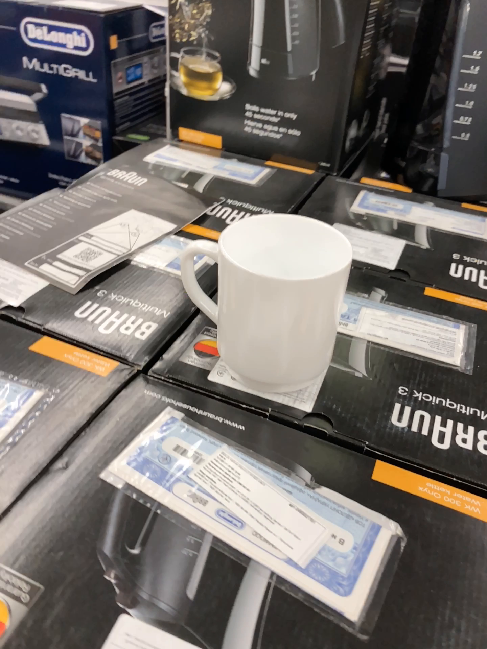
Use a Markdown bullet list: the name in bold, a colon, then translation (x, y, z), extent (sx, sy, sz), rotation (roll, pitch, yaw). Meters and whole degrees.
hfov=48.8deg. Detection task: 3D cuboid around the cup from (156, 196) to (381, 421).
- **cup**: translation (0.016, -0.016, 0.346), extent (0.110, 0.091, 0.083), rotation (17, 37, 22)
